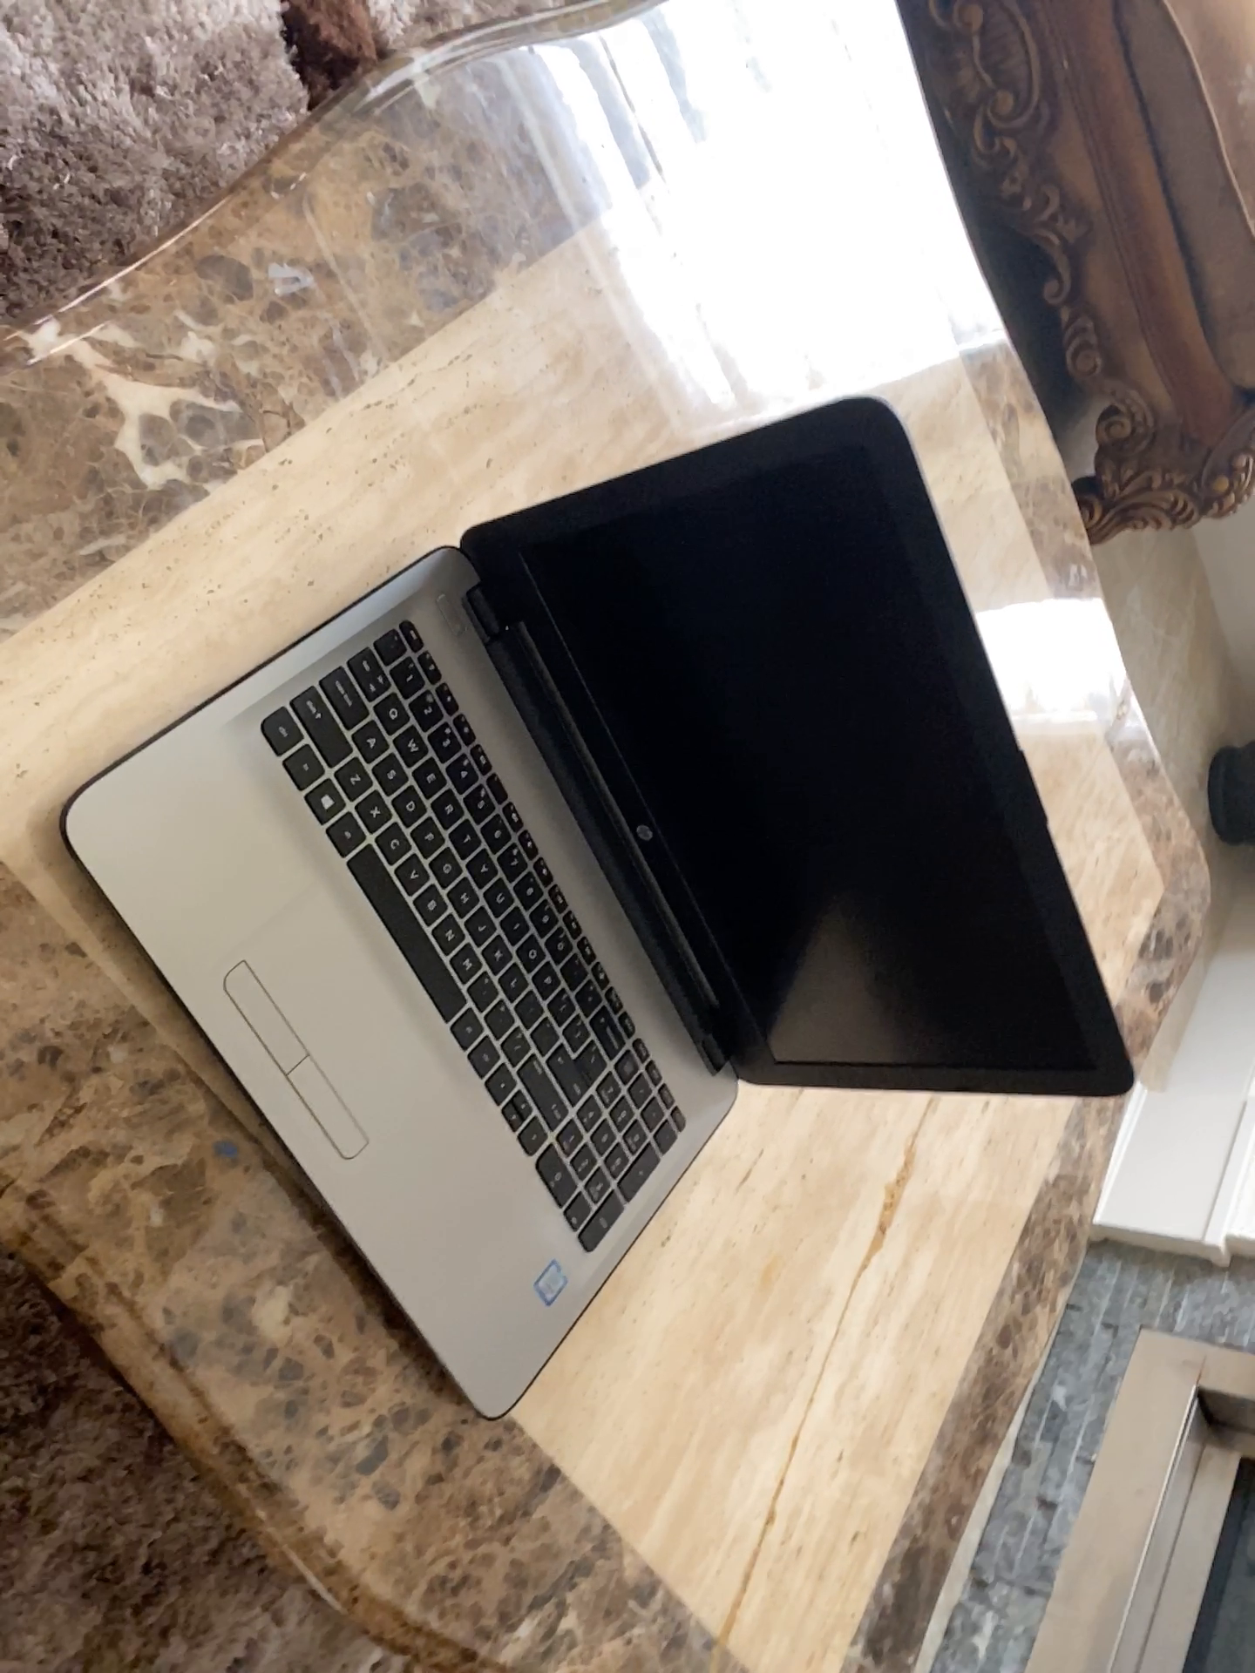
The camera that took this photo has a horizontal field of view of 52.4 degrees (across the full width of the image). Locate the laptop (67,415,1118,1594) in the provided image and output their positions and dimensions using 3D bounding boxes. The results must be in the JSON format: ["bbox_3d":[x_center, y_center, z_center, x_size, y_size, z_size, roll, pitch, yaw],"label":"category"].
[{"bbox_3d":[0.016,0.065,0.574,0.266,0.240,0.372,-47,121,-38],"label":"laptop"}]
